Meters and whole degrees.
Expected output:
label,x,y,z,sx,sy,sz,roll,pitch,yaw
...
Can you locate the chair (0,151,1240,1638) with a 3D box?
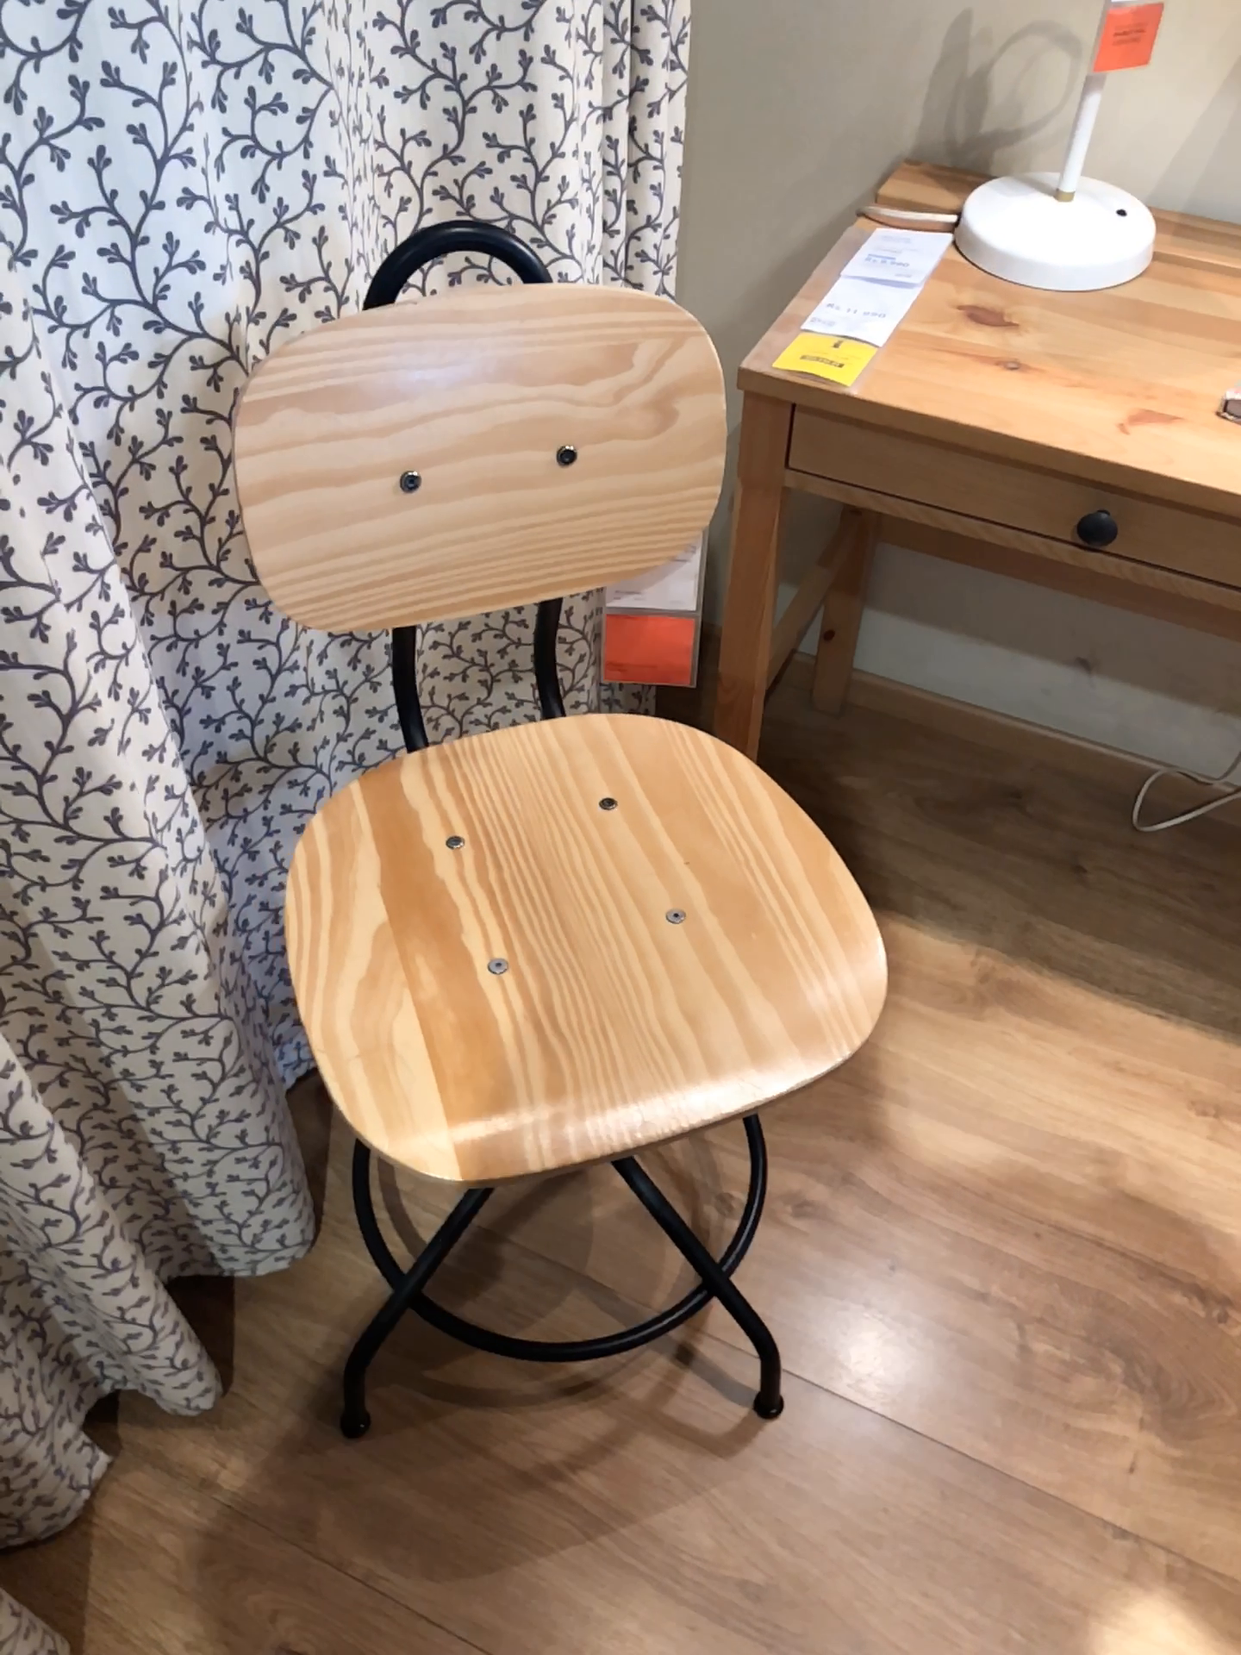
label,x,y,z,sx,sy,sz,roll,pitch,yaw
chair,-0.035,0.082,0.971,0.520,0.815,0.553,-15,50,-14
